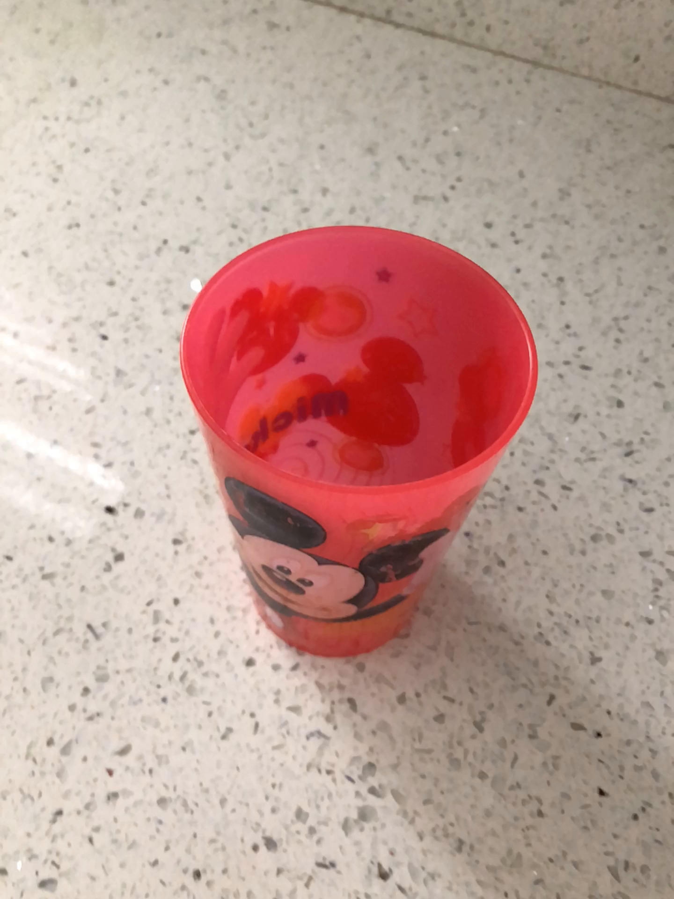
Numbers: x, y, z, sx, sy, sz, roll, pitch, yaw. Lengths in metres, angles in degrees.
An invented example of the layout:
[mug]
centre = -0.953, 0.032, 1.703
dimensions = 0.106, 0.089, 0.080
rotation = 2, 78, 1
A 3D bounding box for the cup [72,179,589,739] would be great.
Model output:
[cup]
centre = 0.000, 0.007, 0.183
dimensions = 0.073, 0.096, 0.071
rotation = 1, 55, -2
